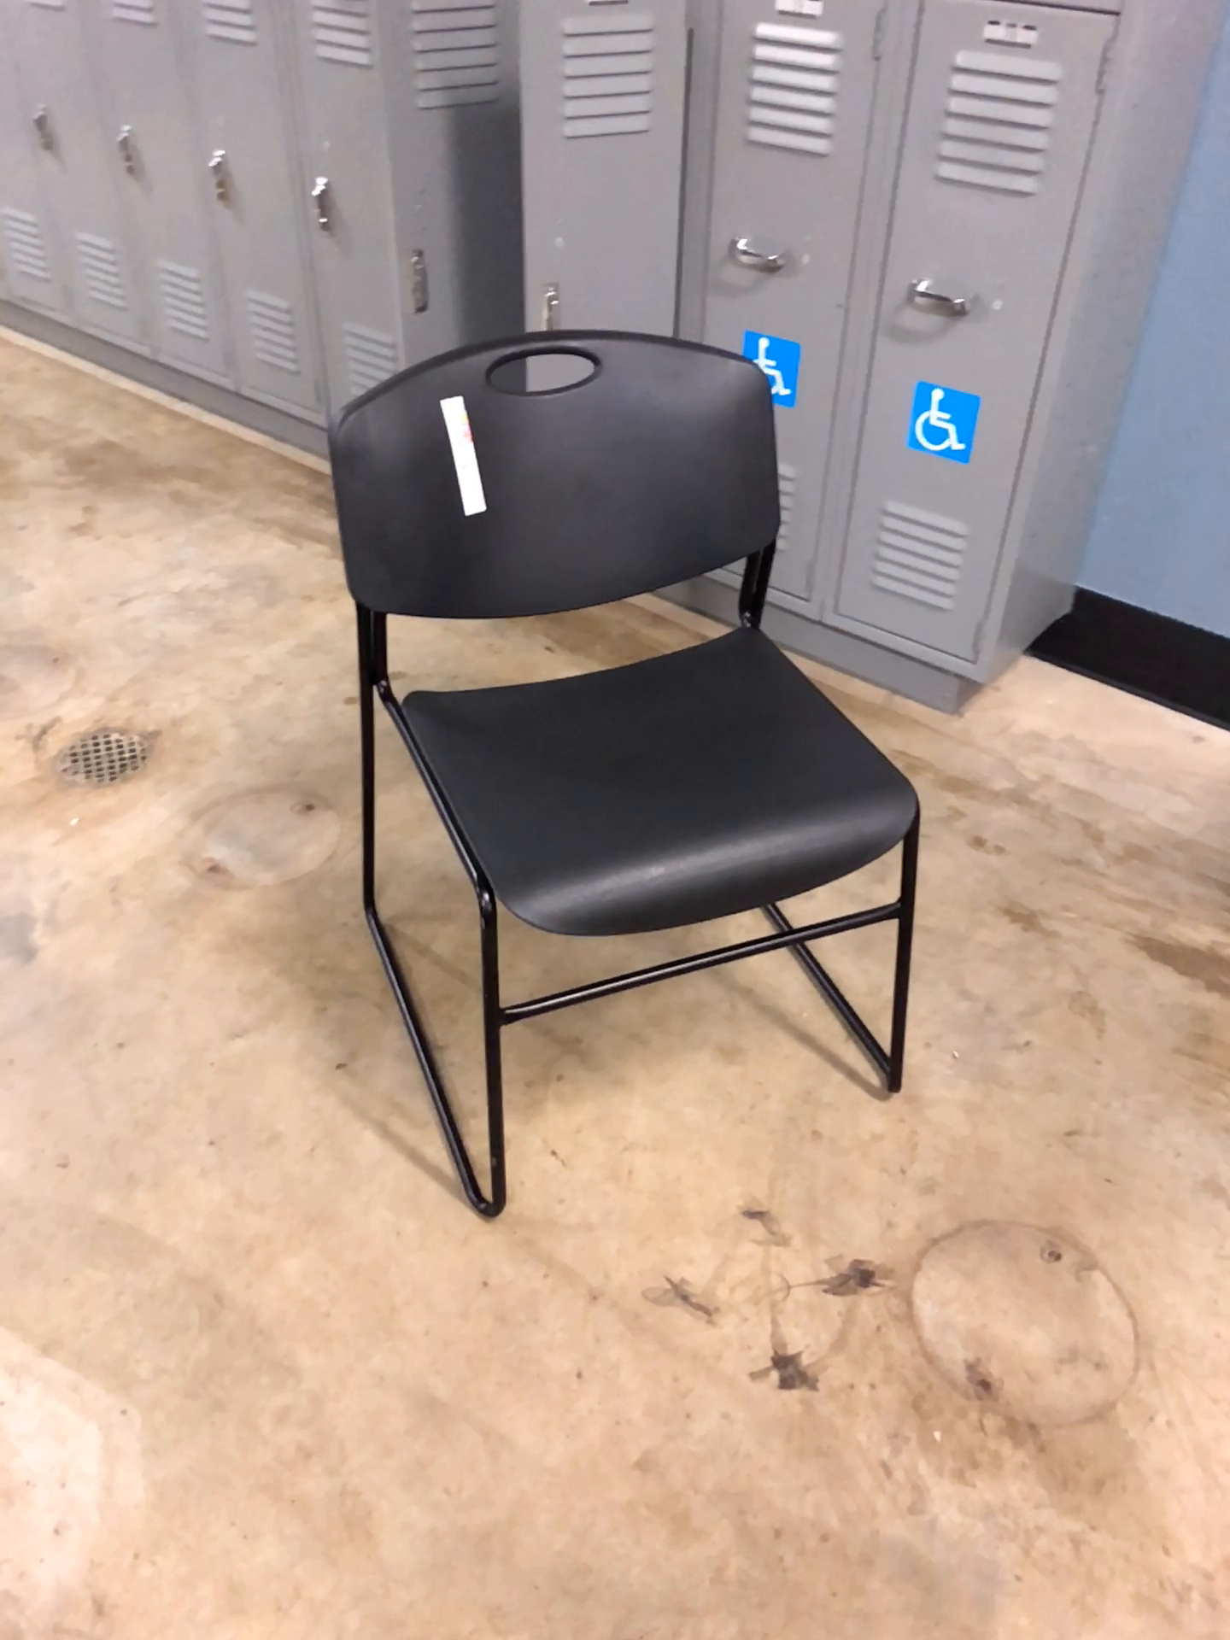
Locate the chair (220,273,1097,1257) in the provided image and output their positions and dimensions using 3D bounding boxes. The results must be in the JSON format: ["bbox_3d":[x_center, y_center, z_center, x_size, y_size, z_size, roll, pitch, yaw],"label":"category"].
[{"bbox_3d":[-0.011,-0.076,1.306,0.544,0.665,0.548,-13,42,-17],"label":"chair"}]
